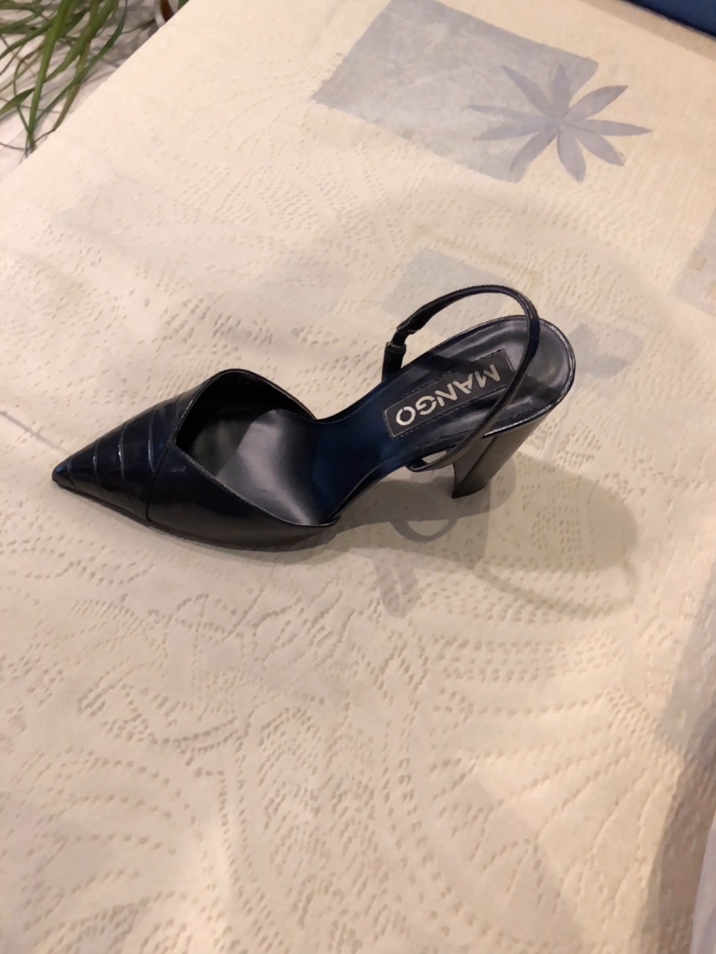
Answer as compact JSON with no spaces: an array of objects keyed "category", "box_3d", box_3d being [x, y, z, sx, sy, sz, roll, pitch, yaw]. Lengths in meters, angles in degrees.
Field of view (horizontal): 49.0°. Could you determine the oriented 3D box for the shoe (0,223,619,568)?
[{"category":"shoe","box_3d":[-0.030,-0.033,0.366,0.240,0.129,0.100,-3,64,-8]}]
